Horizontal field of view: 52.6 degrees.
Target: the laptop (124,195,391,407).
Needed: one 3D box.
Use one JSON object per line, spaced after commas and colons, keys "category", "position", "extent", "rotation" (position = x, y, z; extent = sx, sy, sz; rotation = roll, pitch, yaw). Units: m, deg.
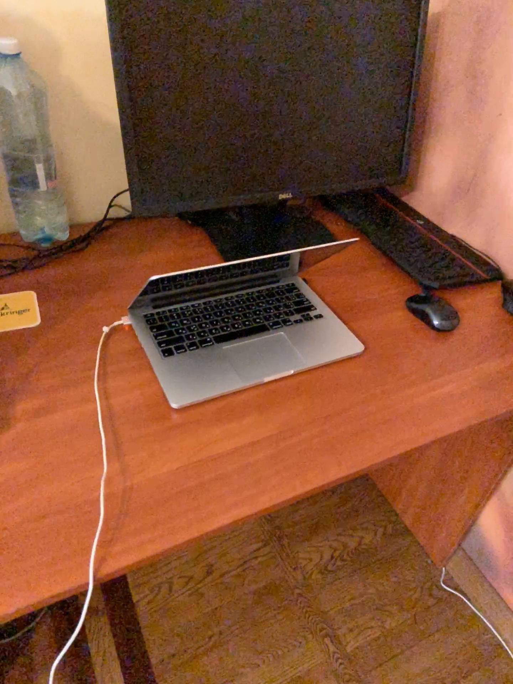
{"category": "laptop", "position": [-0.008, -0.076, 0.740], "extent": [0.303, 0.150, 0.208], "rotation": [-15, 45, -24]}
